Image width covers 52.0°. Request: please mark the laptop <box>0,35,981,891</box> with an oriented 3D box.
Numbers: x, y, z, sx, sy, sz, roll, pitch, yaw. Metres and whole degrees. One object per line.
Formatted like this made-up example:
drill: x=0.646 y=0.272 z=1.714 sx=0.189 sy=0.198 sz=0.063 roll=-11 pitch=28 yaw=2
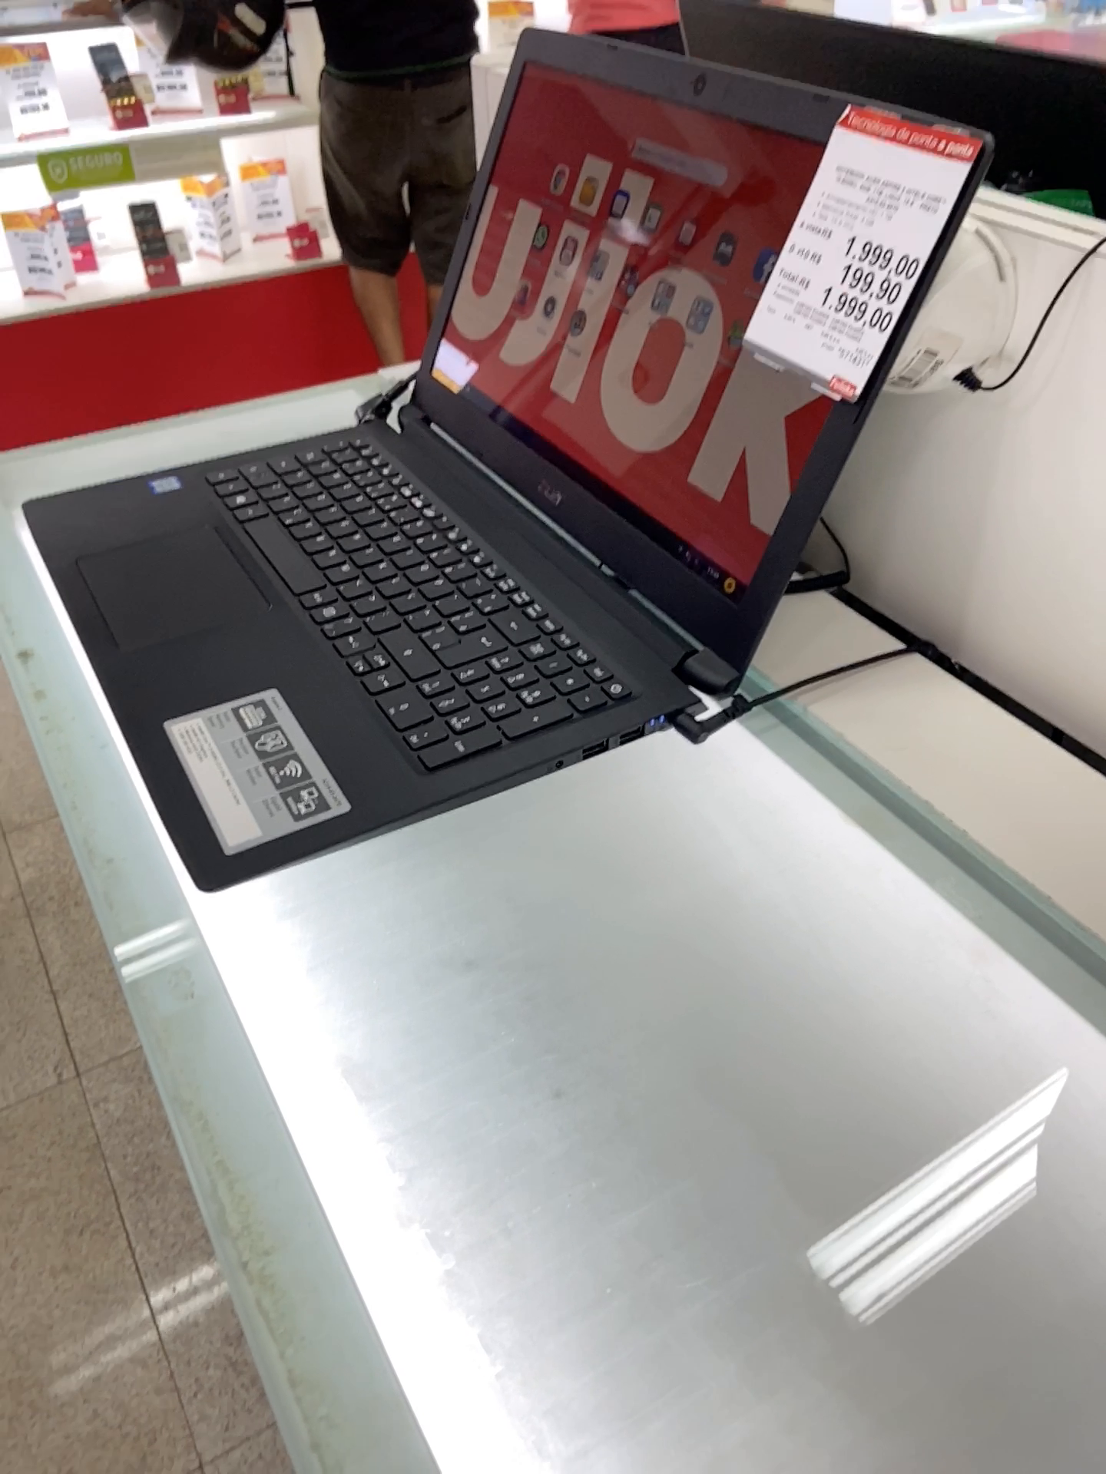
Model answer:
laptop: x=-0.083 y=-0.193 z=0.587 sx=0.370 sy=0.229 sz=0.393 roll=-20 pitch=42 yaw=-23
